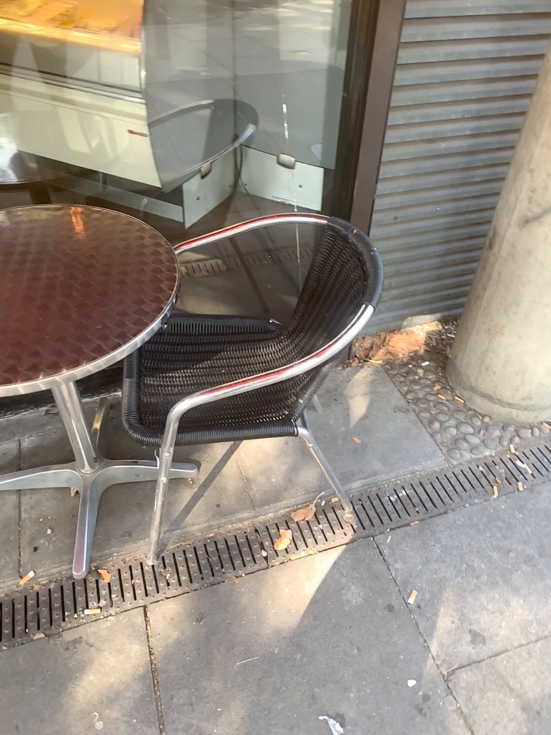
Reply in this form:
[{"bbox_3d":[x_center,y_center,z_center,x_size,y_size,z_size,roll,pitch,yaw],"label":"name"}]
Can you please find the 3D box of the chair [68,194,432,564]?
[{"bbox_3d":[-0.091,0.005,1.393,0.640,0.604,0.606,-6,42,-9],"label":"chair"}]
